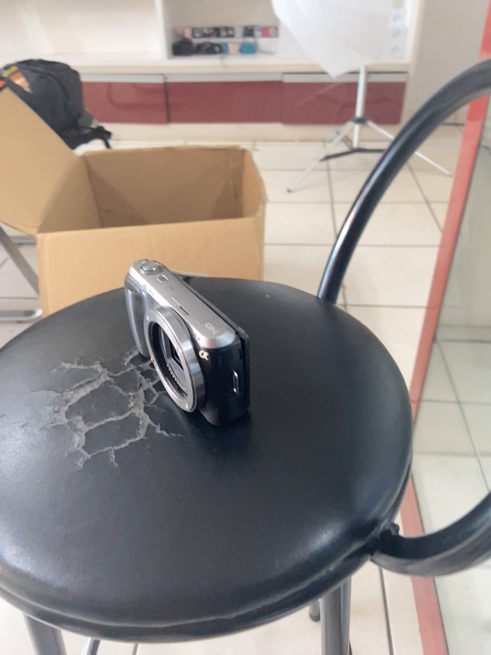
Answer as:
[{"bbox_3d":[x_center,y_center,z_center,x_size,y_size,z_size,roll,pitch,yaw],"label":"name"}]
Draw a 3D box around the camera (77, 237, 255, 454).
[{"bbox_3d":[-0.047,0.003,0.283,0.040,0.060,0.120,-23,41,-27],"label":"camera"}]
